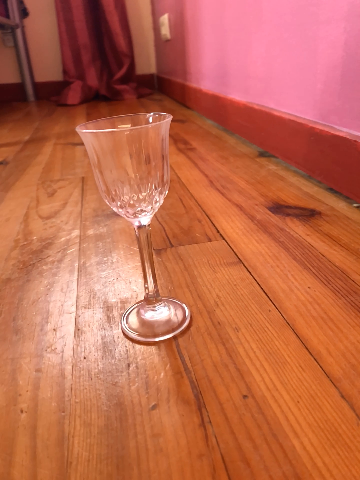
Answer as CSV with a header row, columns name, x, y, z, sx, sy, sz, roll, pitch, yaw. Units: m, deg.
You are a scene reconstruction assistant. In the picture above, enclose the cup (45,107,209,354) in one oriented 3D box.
name,x,y,z,sx,sy,sz,roll,pitch,yaw
cup,-0.028,-0.009,0.251,0.058,0.133,0.060,-5,25,2
